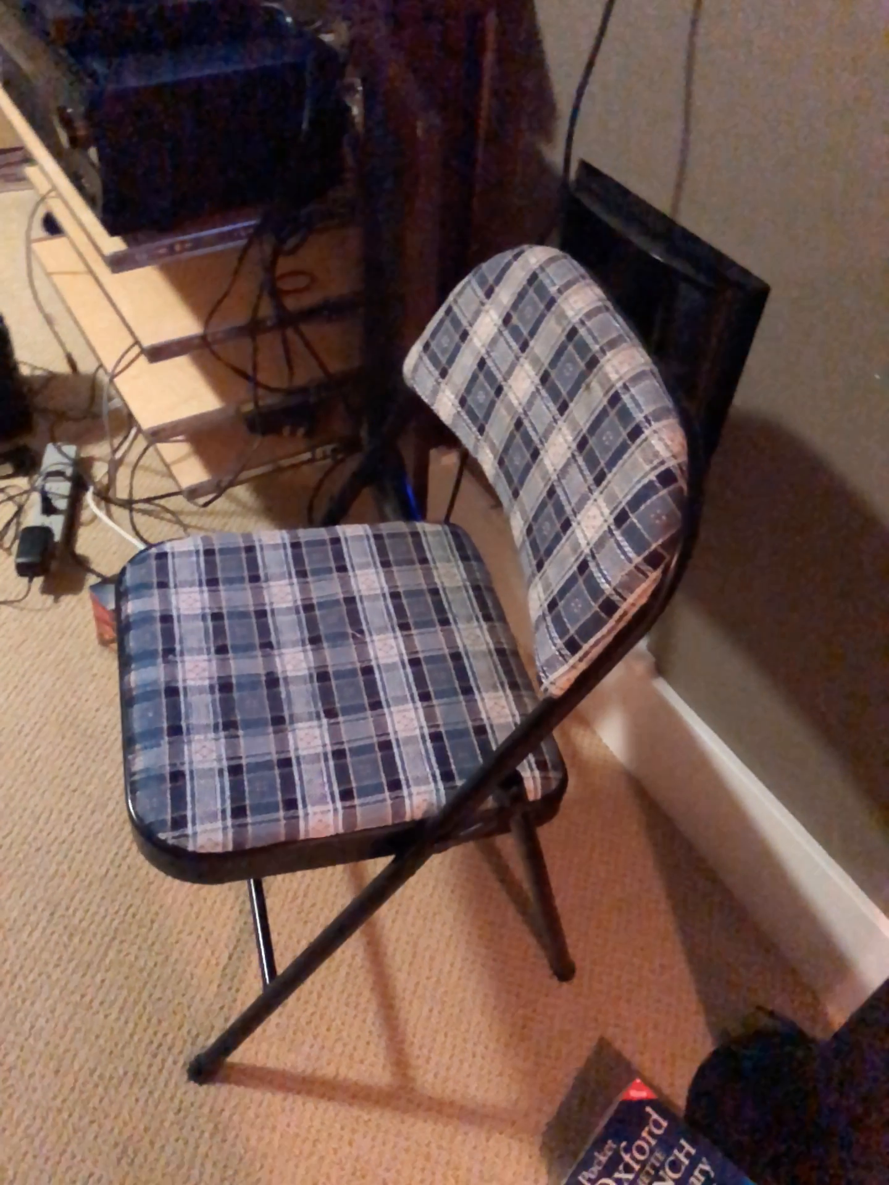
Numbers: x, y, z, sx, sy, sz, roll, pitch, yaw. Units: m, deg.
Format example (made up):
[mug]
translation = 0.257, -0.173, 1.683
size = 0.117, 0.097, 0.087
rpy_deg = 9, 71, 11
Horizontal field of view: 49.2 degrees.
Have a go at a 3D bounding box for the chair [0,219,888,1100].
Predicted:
[chair]
translation = -0.056, 0.080, 1.000
size = 0.560, 0.706, 0.503
rpy_deg = -6, 47, -12
